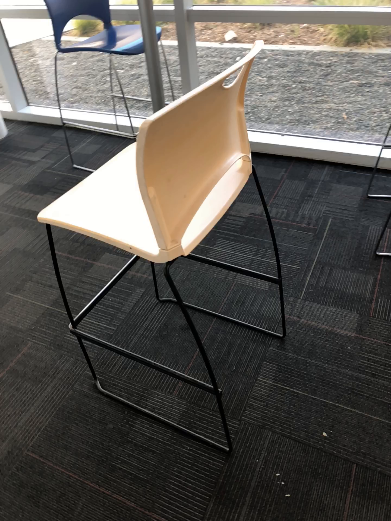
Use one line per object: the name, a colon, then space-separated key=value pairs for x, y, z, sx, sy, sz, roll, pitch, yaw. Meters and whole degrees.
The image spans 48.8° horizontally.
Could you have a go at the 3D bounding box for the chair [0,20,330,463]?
chair: x=-0.105 y=-0.064 z=1.249 sx=0.721 sy=0.995 sz=0.582 roll=15 pitch=44 yaw=24
